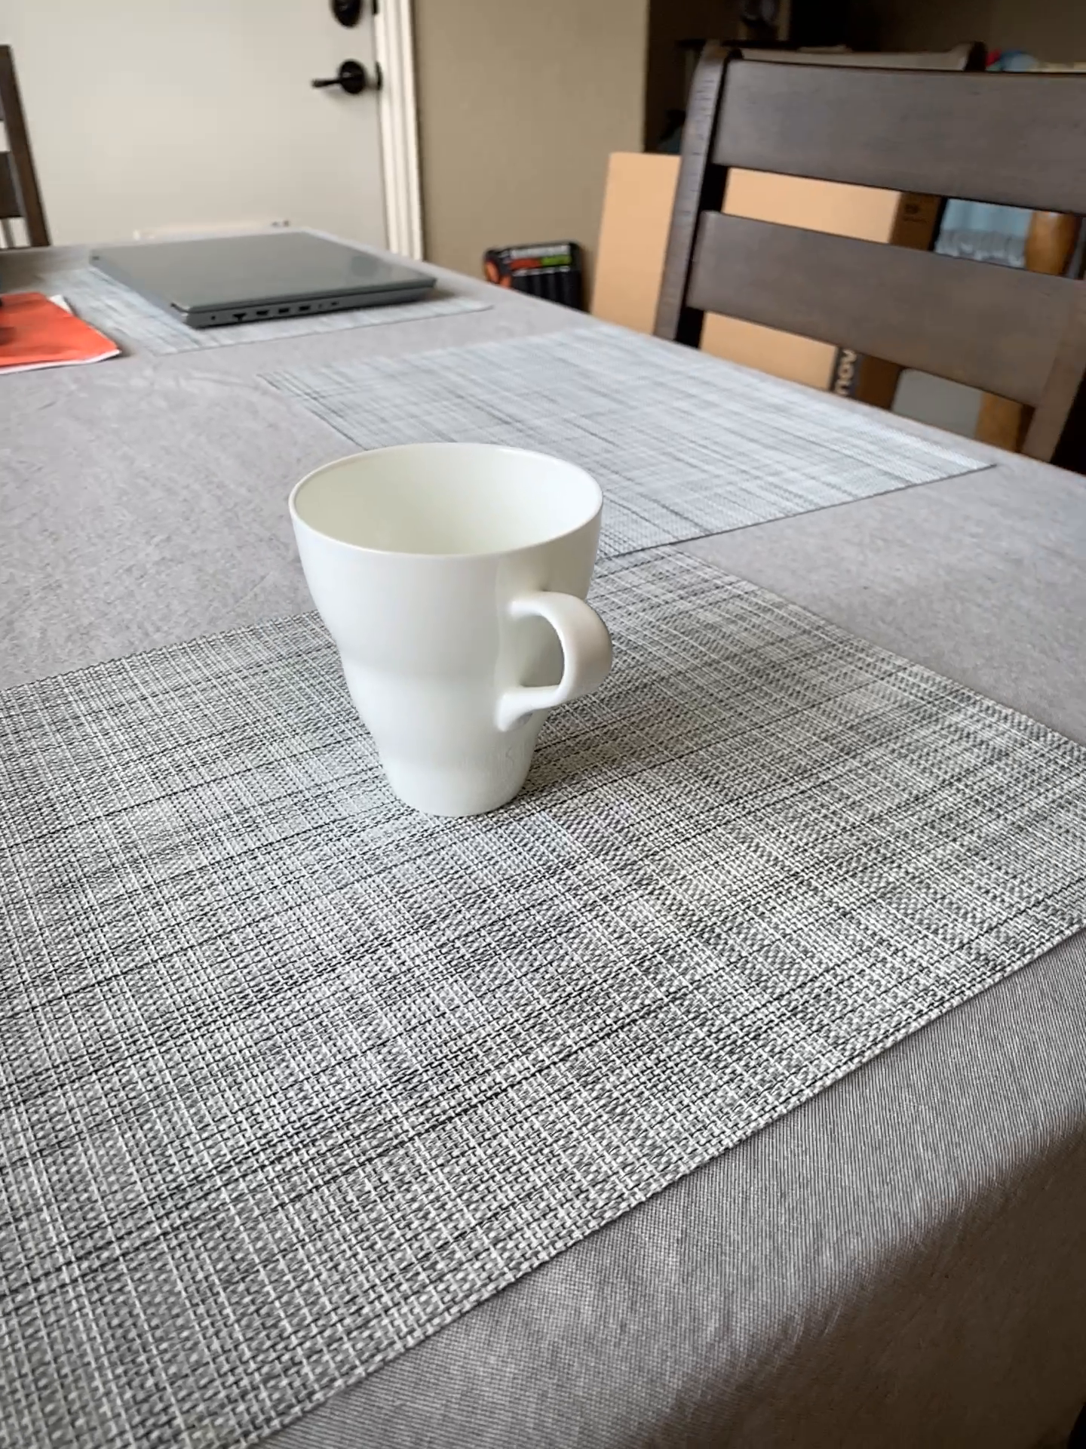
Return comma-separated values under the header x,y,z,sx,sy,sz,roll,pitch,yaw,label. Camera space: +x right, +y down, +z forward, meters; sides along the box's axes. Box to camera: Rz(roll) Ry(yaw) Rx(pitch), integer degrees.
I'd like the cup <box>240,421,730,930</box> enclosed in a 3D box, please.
x,y,z,sx,sy,sz,roll,pitch,yaw,label
-0.021,-0.025,0.361,0.098,0.098,0.121,-20,37,-27,cup
